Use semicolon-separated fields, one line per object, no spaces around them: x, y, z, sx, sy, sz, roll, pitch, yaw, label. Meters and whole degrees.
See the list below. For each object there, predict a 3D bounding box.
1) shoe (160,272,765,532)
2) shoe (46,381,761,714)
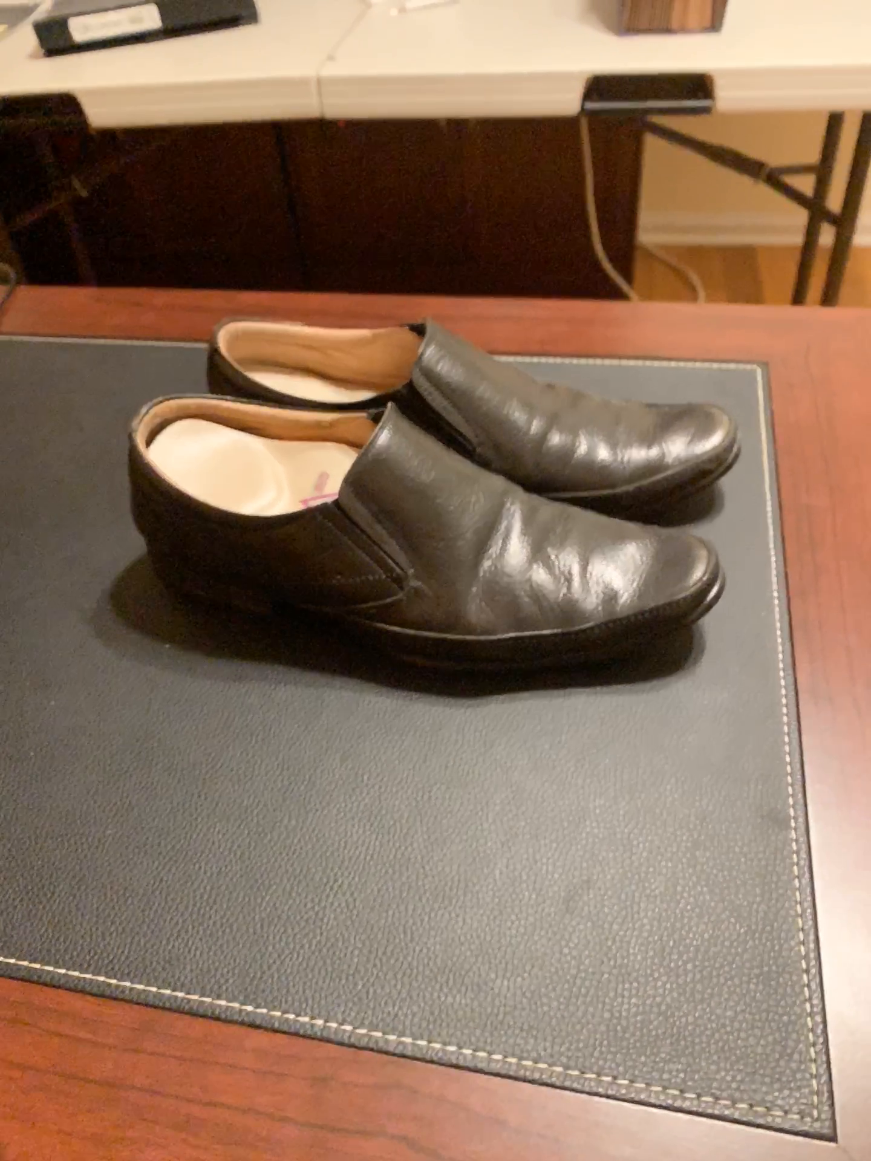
0.016;-0.100;0.483;0.284;0.077;0.106;5;46;11;shoe
-0.010;-0.022;0.415;0.284;0.077;0.111;5;46;11;shoe
